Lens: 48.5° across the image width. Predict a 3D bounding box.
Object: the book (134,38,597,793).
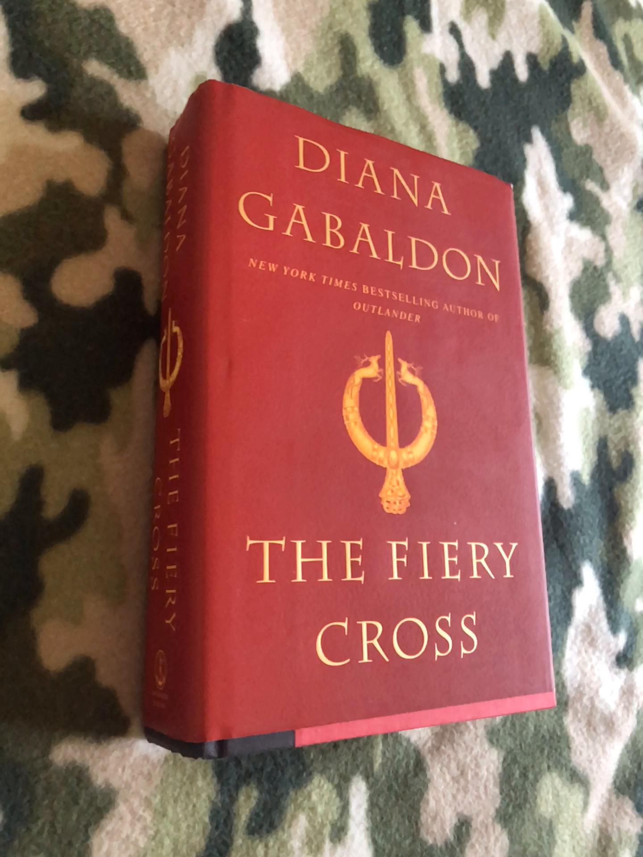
[{"bbox_3d":[0.019,-0.004,0.303,0.171,0.070,0.250,6,75,-32],"label":"book"}]
